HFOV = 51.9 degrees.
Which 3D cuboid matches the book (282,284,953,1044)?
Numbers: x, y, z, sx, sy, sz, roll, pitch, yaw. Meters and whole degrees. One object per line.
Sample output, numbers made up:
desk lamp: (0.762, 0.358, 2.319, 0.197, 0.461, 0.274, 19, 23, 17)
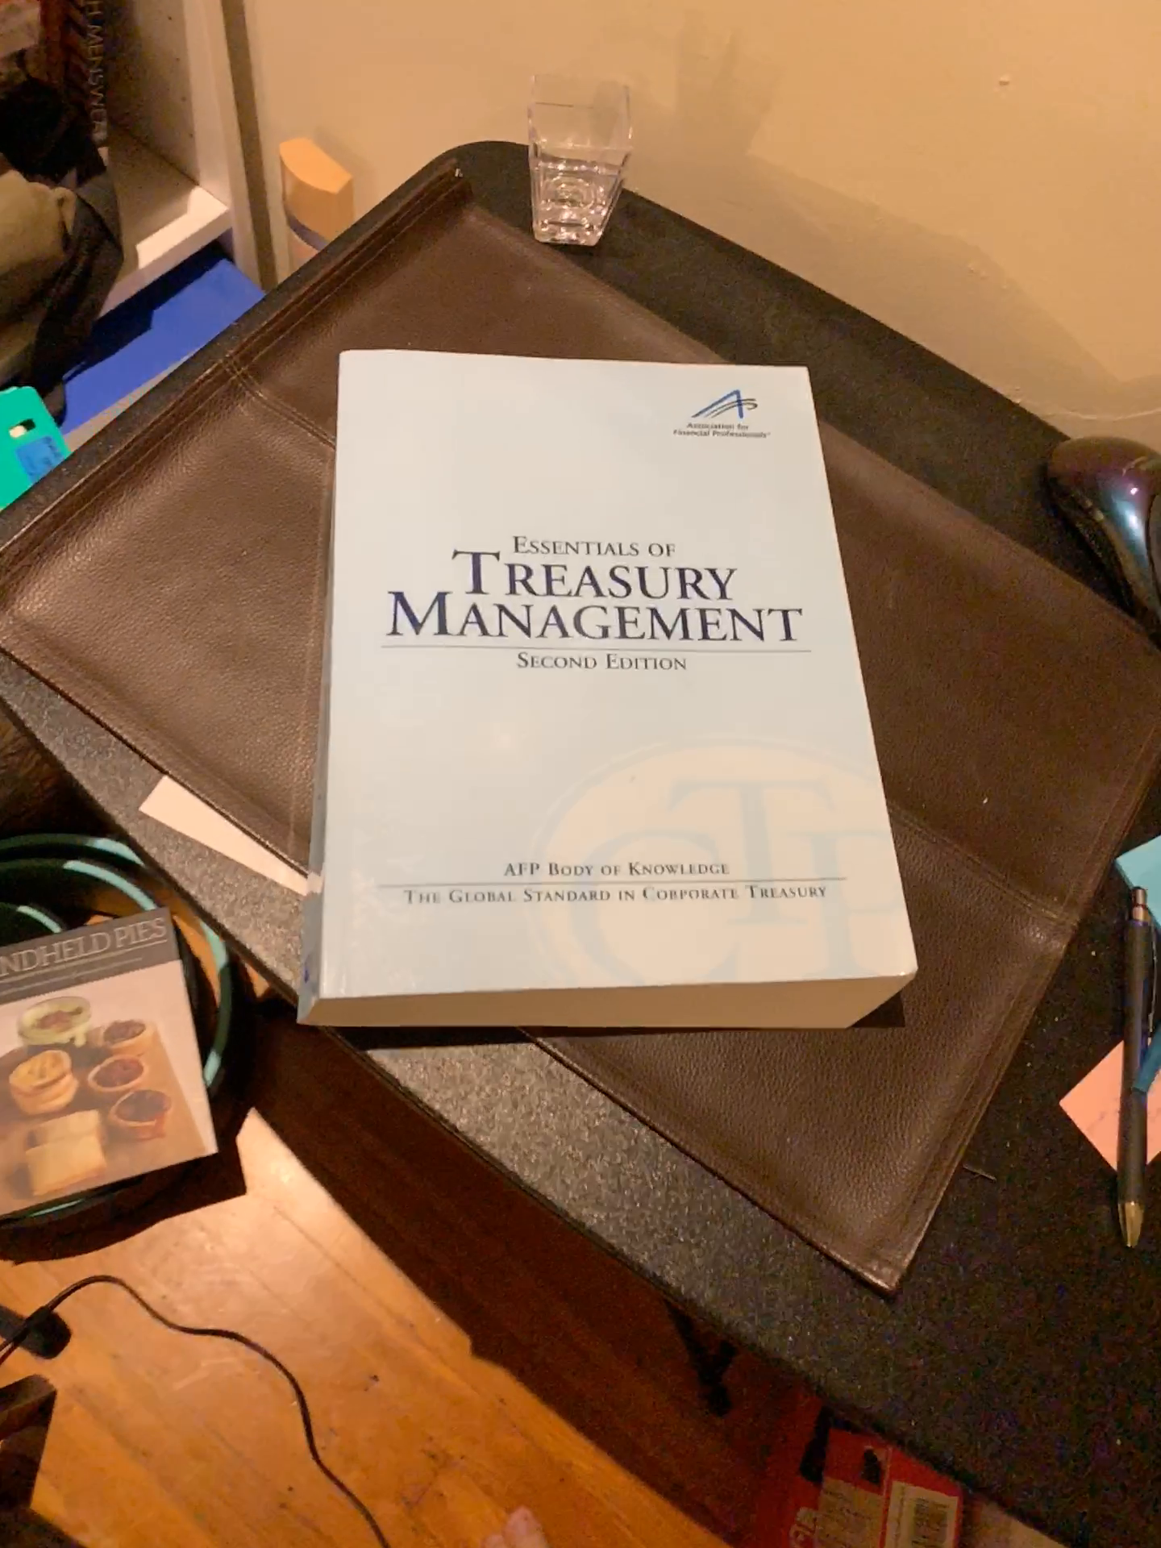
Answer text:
book: (0.006, -0.051, 0.474, 0.220, 0.060, 0.301, 1, 66, -8)
